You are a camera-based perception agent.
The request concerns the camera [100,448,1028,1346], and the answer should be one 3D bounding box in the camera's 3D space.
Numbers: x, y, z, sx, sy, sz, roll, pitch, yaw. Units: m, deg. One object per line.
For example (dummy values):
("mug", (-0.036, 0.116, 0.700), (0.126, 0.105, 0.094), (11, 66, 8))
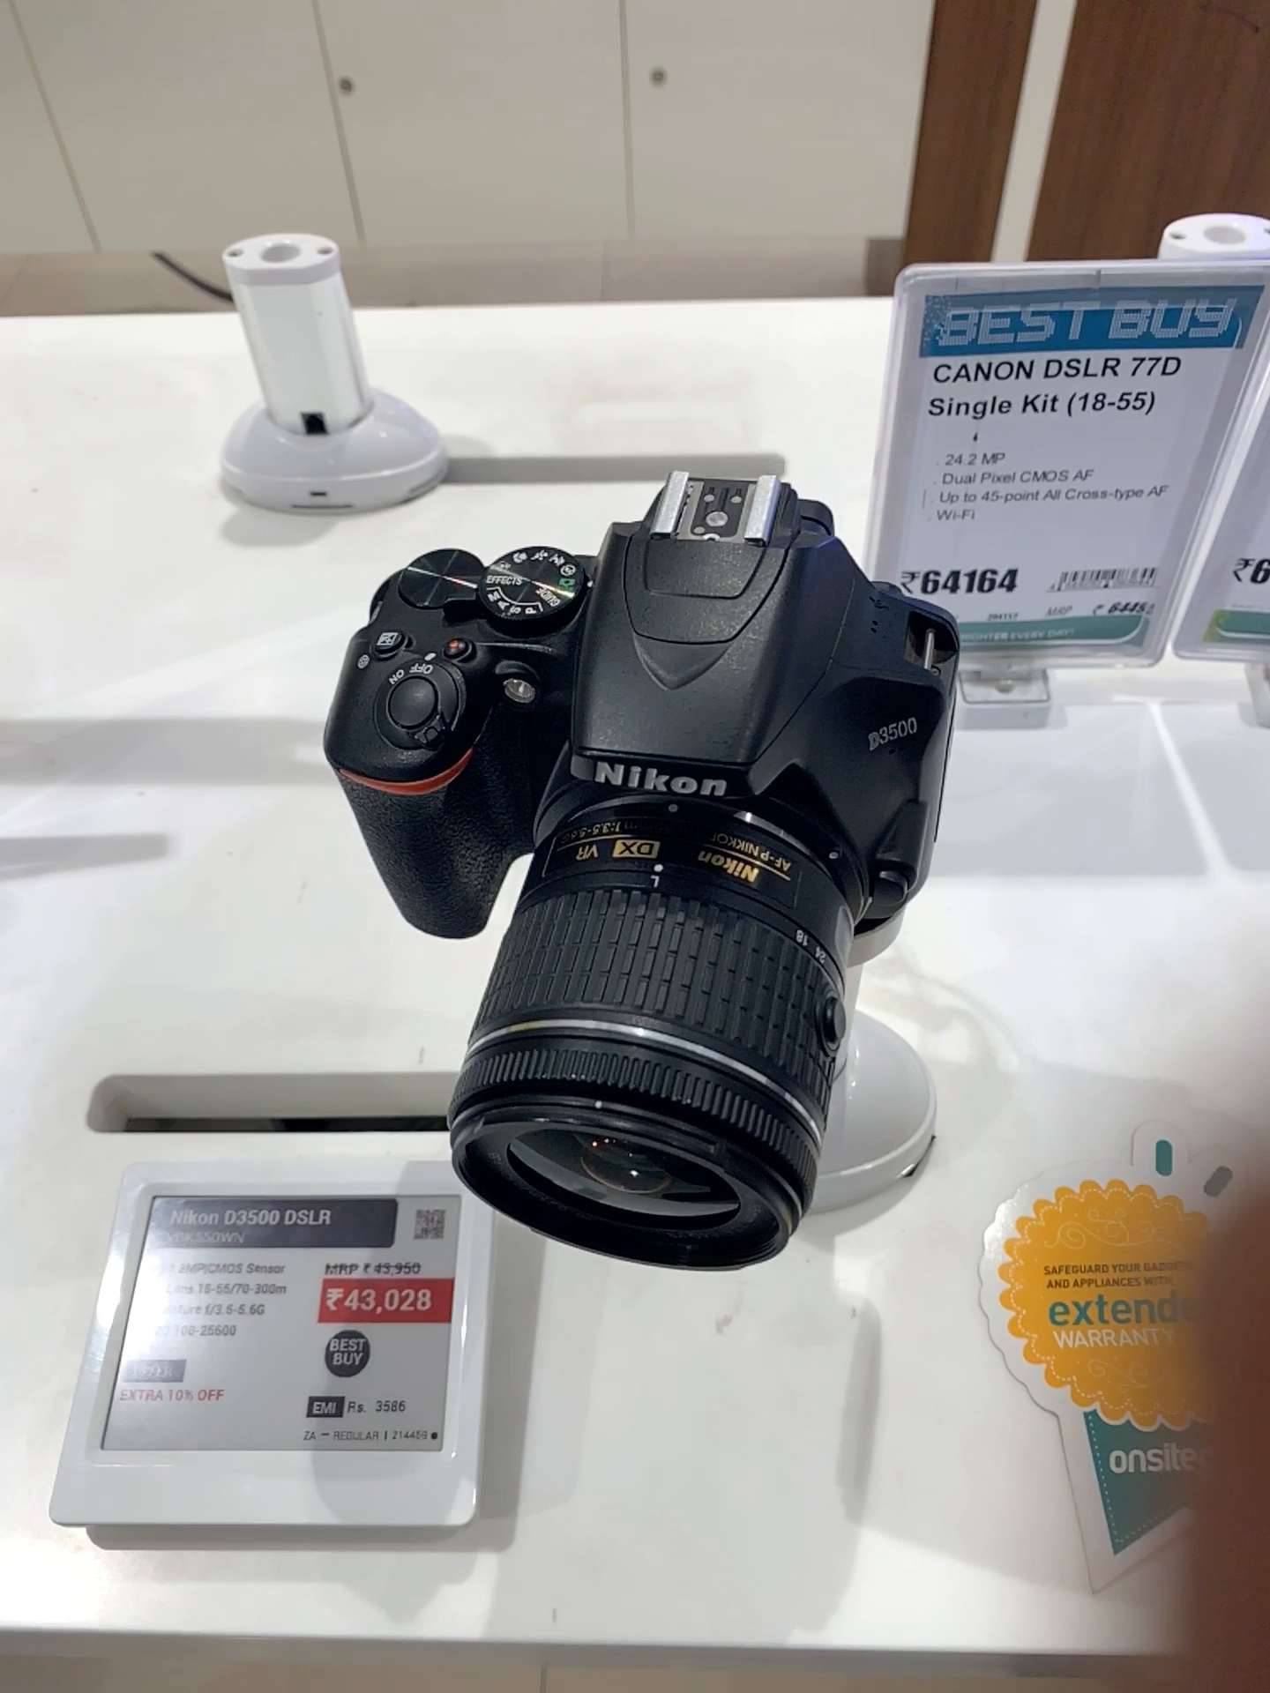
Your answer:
("camera", (0.000, 0.007, 0.219), (0.110, 0.090, 0.103), (7, 52, 9))
